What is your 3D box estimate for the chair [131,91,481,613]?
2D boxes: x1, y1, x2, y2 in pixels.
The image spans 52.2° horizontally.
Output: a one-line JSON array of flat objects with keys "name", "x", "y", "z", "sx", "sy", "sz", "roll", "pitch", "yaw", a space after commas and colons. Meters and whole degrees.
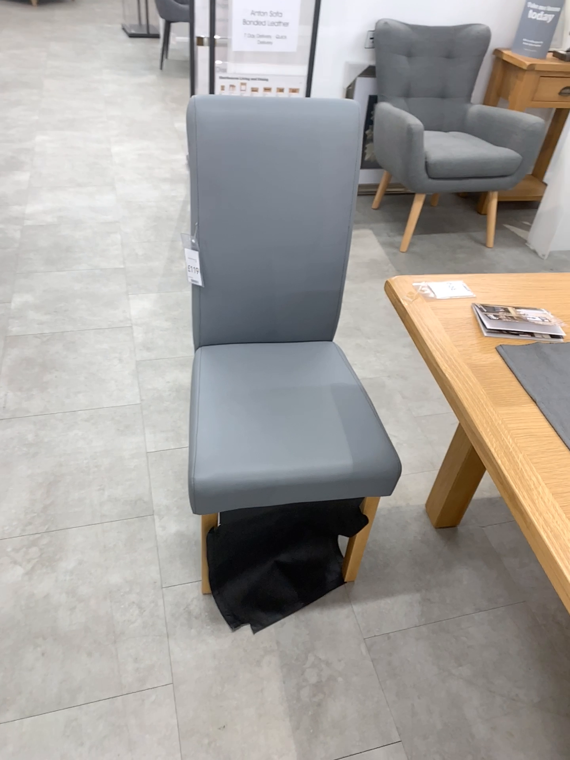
[{"name": "chair", "x": -0.057, "y": -0.053, "z": 1.299, "sx": 0.472, "sy": 0.906, "sz": 0.660, "roll": -3, "pitch": 41, "yaw": -11}]
